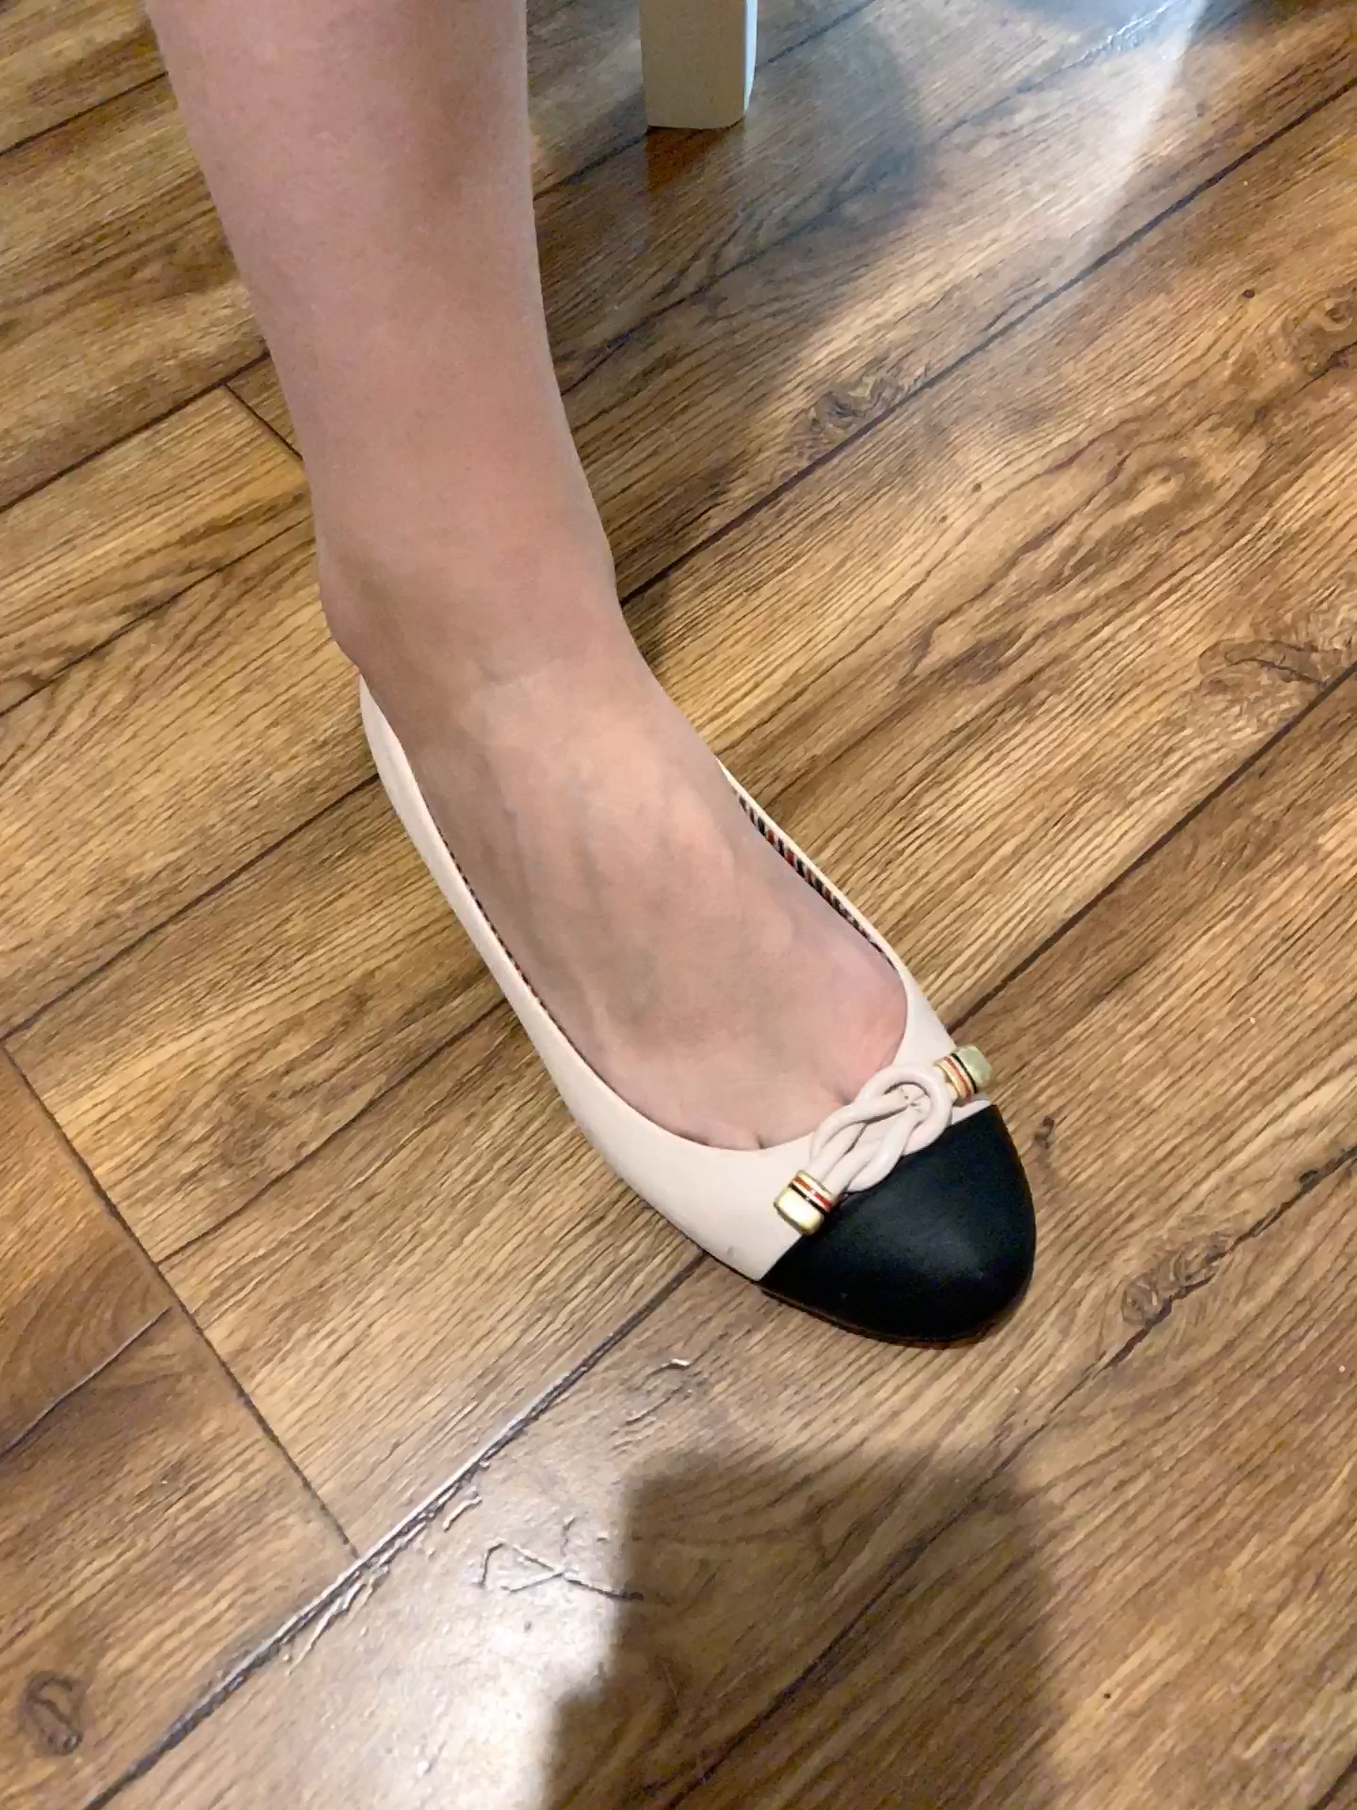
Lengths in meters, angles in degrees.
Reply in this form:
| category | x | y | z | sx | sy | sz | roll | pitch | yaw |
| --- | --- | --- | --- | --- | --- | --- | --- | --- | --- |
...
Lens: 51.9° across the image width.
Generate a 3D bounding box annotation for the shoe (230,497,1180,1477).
| category | x | y | z | sx | sy | sz | roll | pitch | yaw |
| --- | --- | --- | --- | --- | --- | --- | --- | --- | --- |
| shoe | -0.004 | 0.010 | 0.325 | 0.083 | 0.059 | 0.220 | -36 | 66 | -15 |
